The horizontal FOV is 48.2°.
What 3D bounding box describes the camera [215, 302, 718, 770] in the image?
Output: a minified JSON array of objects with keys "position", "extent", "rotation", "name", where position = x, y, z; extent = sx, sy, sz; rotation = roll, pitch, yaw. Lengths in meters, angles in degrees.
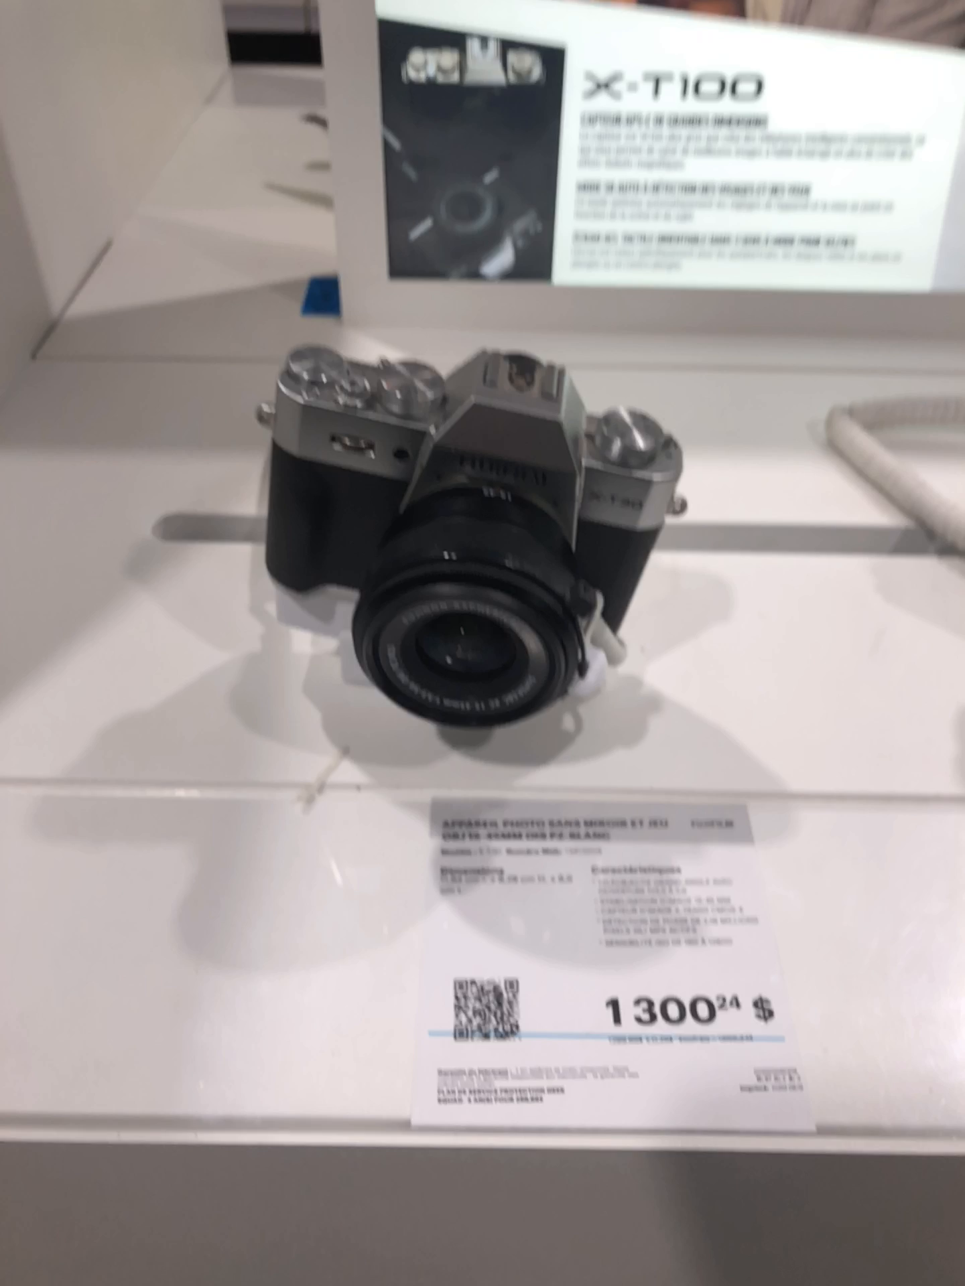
[{"position":[-0.004,-0.035,0.338],"extent":[0.130,0.089,0.091],"rotation":[10,42,1],"name":"camera"}]
